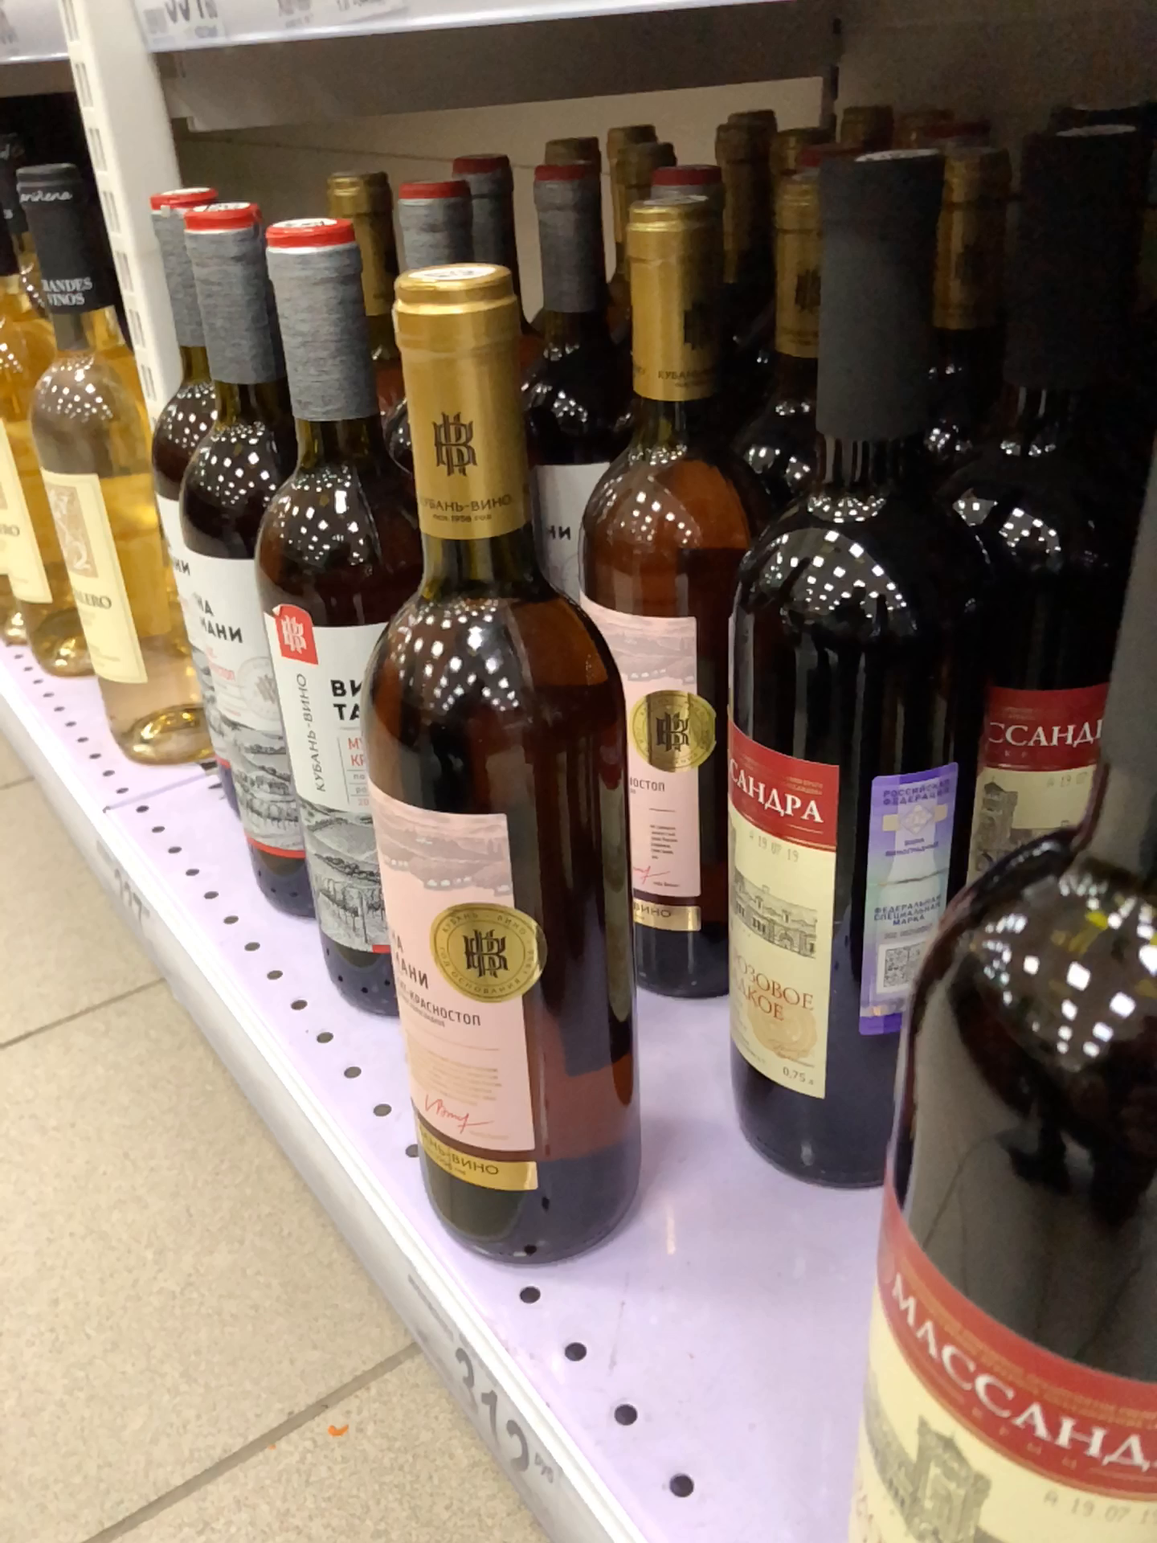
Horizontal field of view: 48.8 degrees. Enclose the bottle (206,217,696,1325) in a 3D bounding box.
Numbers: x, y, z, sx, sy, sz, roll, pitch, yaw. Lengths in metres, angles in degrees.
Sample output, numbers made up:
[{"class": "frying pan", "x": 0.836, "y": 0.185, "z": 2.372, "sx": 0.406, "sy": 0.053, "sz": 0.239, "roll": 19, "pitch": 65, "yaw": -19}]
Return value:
[{"class": "bottle", "x": -0.023, "y": 0.010, "z": 0.352, "sx": 0.070, "sy": 0.290, "sz": 0.080, "roll": -28, "pitch": 37, "yaw": -36}]
